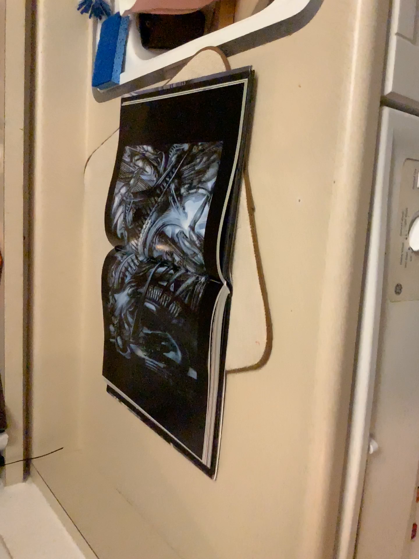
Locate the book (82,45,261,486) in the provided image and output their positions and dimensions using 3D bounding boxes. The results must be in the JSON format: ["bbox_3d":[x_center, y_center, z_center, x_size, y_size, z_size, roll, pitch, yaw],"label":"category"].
[{"bbox_3d":[-0.090,-0.030,0.699,0.350,0.040,0.530,18,105,50],"label":"book"}]
